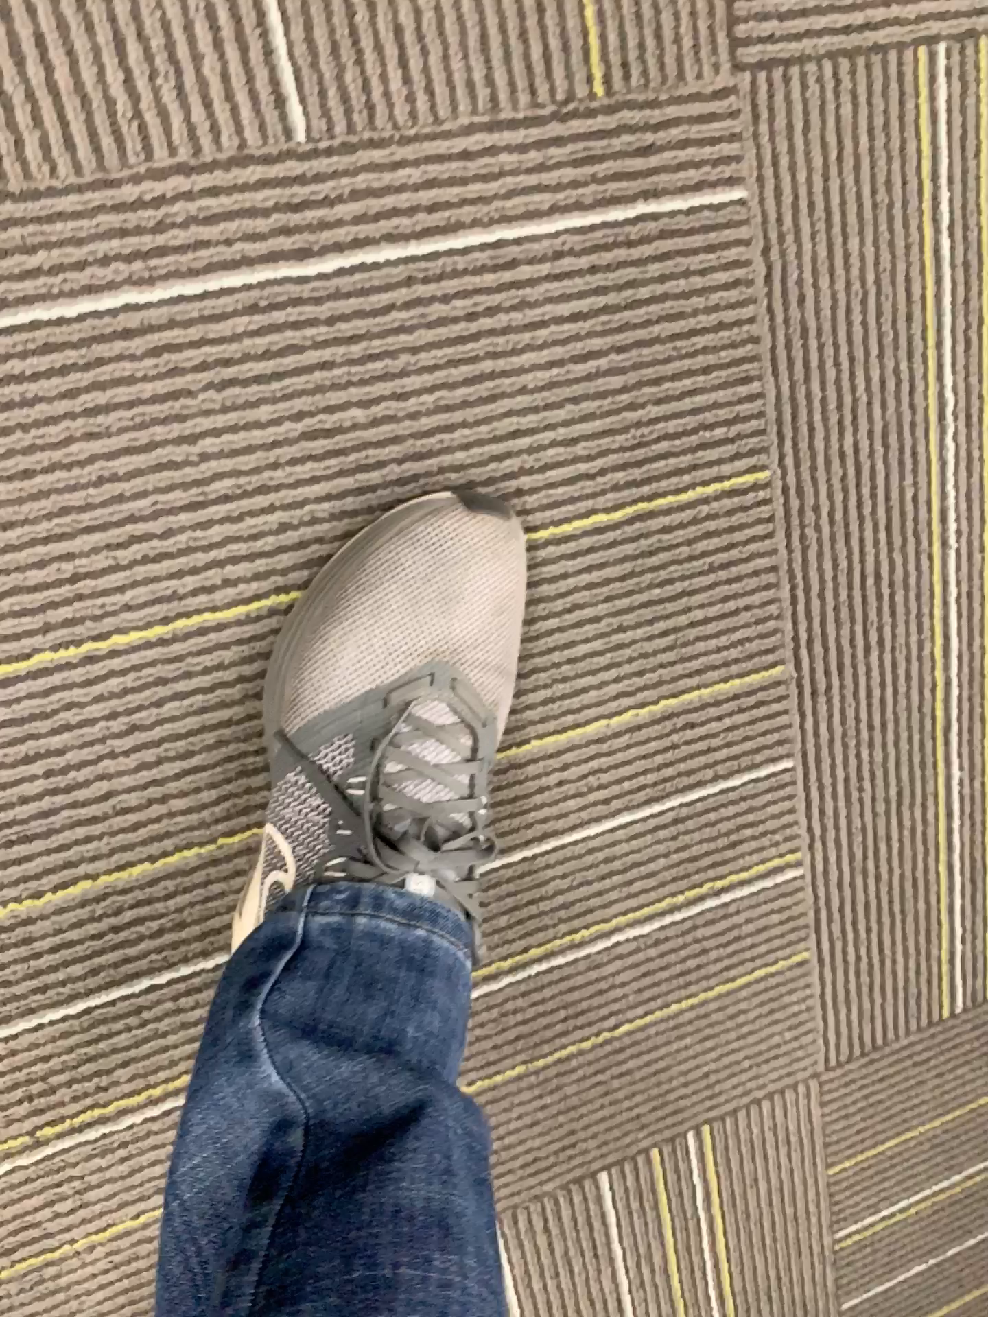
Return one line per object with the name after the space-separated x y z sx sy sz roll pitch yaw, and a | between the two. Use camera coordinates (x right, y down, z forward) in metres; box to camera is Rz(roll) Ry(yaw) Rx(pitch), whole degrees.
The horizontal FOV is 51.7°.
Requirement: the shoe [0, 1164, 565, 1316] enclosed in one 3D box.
-0.127 0.453 0.596 0.299 0.093 0.128 -29 114 -10 | shoe

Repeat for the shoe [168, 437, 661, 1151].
-0.049 0.069 0.492 0.131 0.093 0.313 14 101 -23 | shoe
